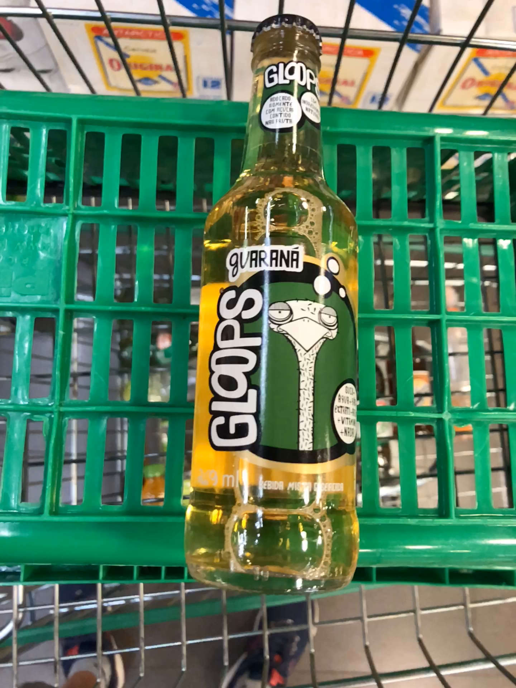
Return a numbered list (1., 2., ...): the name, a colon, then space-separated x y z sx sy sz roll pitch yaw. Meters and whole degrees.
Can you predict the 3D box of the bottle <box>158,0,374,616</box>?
1. bottle: 0.005 -0.029 0.205 0.060 0.050 0.220 3 80 -3
